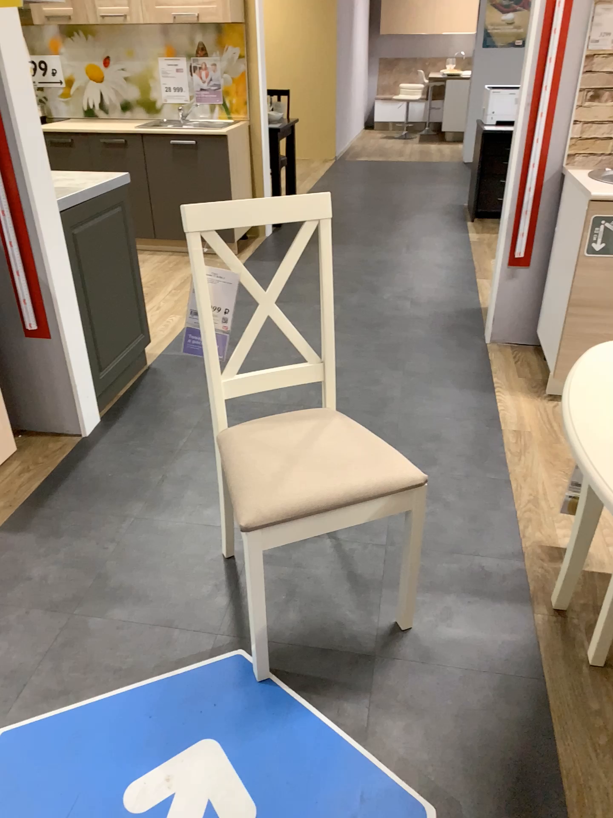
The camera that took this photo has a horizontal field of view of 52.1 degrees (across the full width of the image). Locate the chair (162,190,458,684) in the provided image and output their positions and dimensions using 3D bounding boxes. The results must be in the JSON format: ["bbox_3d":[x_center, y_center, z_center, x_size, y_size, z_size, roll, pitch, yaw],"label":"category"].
[{"bbox_3d":[-0.022,0.051,1.513,0.435,0.989,0.530,-11,31,-18],"label":"chair"}]
